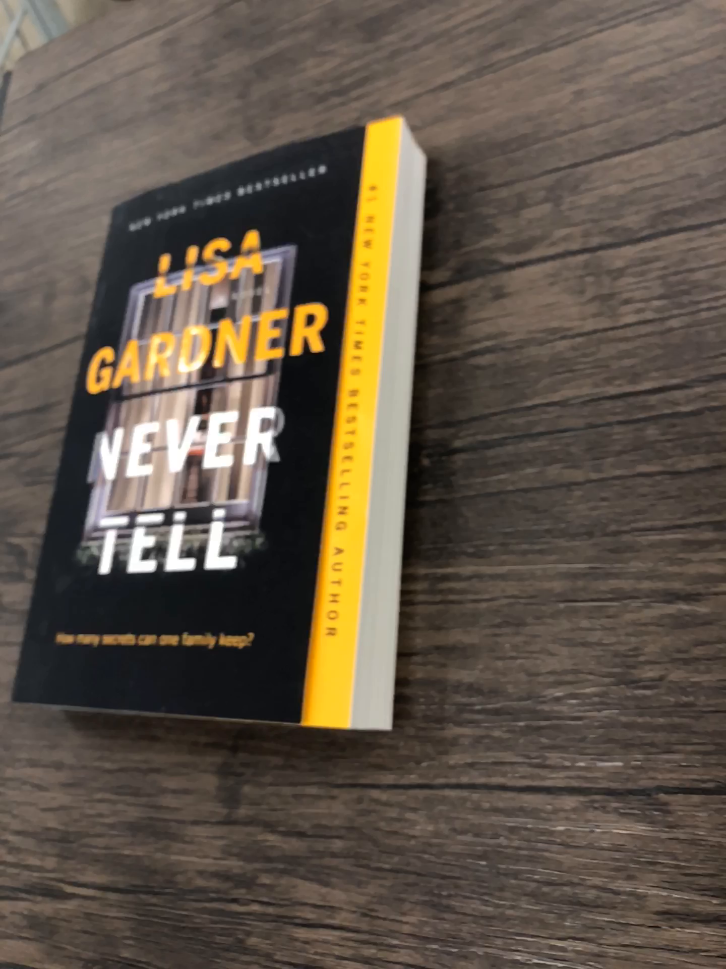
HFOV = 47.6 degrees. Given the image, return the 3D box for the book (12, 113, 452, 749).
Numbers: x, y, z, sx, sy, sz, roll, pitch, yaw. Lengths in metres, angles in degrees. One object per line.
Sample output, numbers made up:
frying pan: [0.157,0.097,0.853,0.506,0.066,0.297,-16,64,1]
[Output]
book: [-0.043,-0.020,0.296,0.137,0.032,0.207,-5,69,28]
